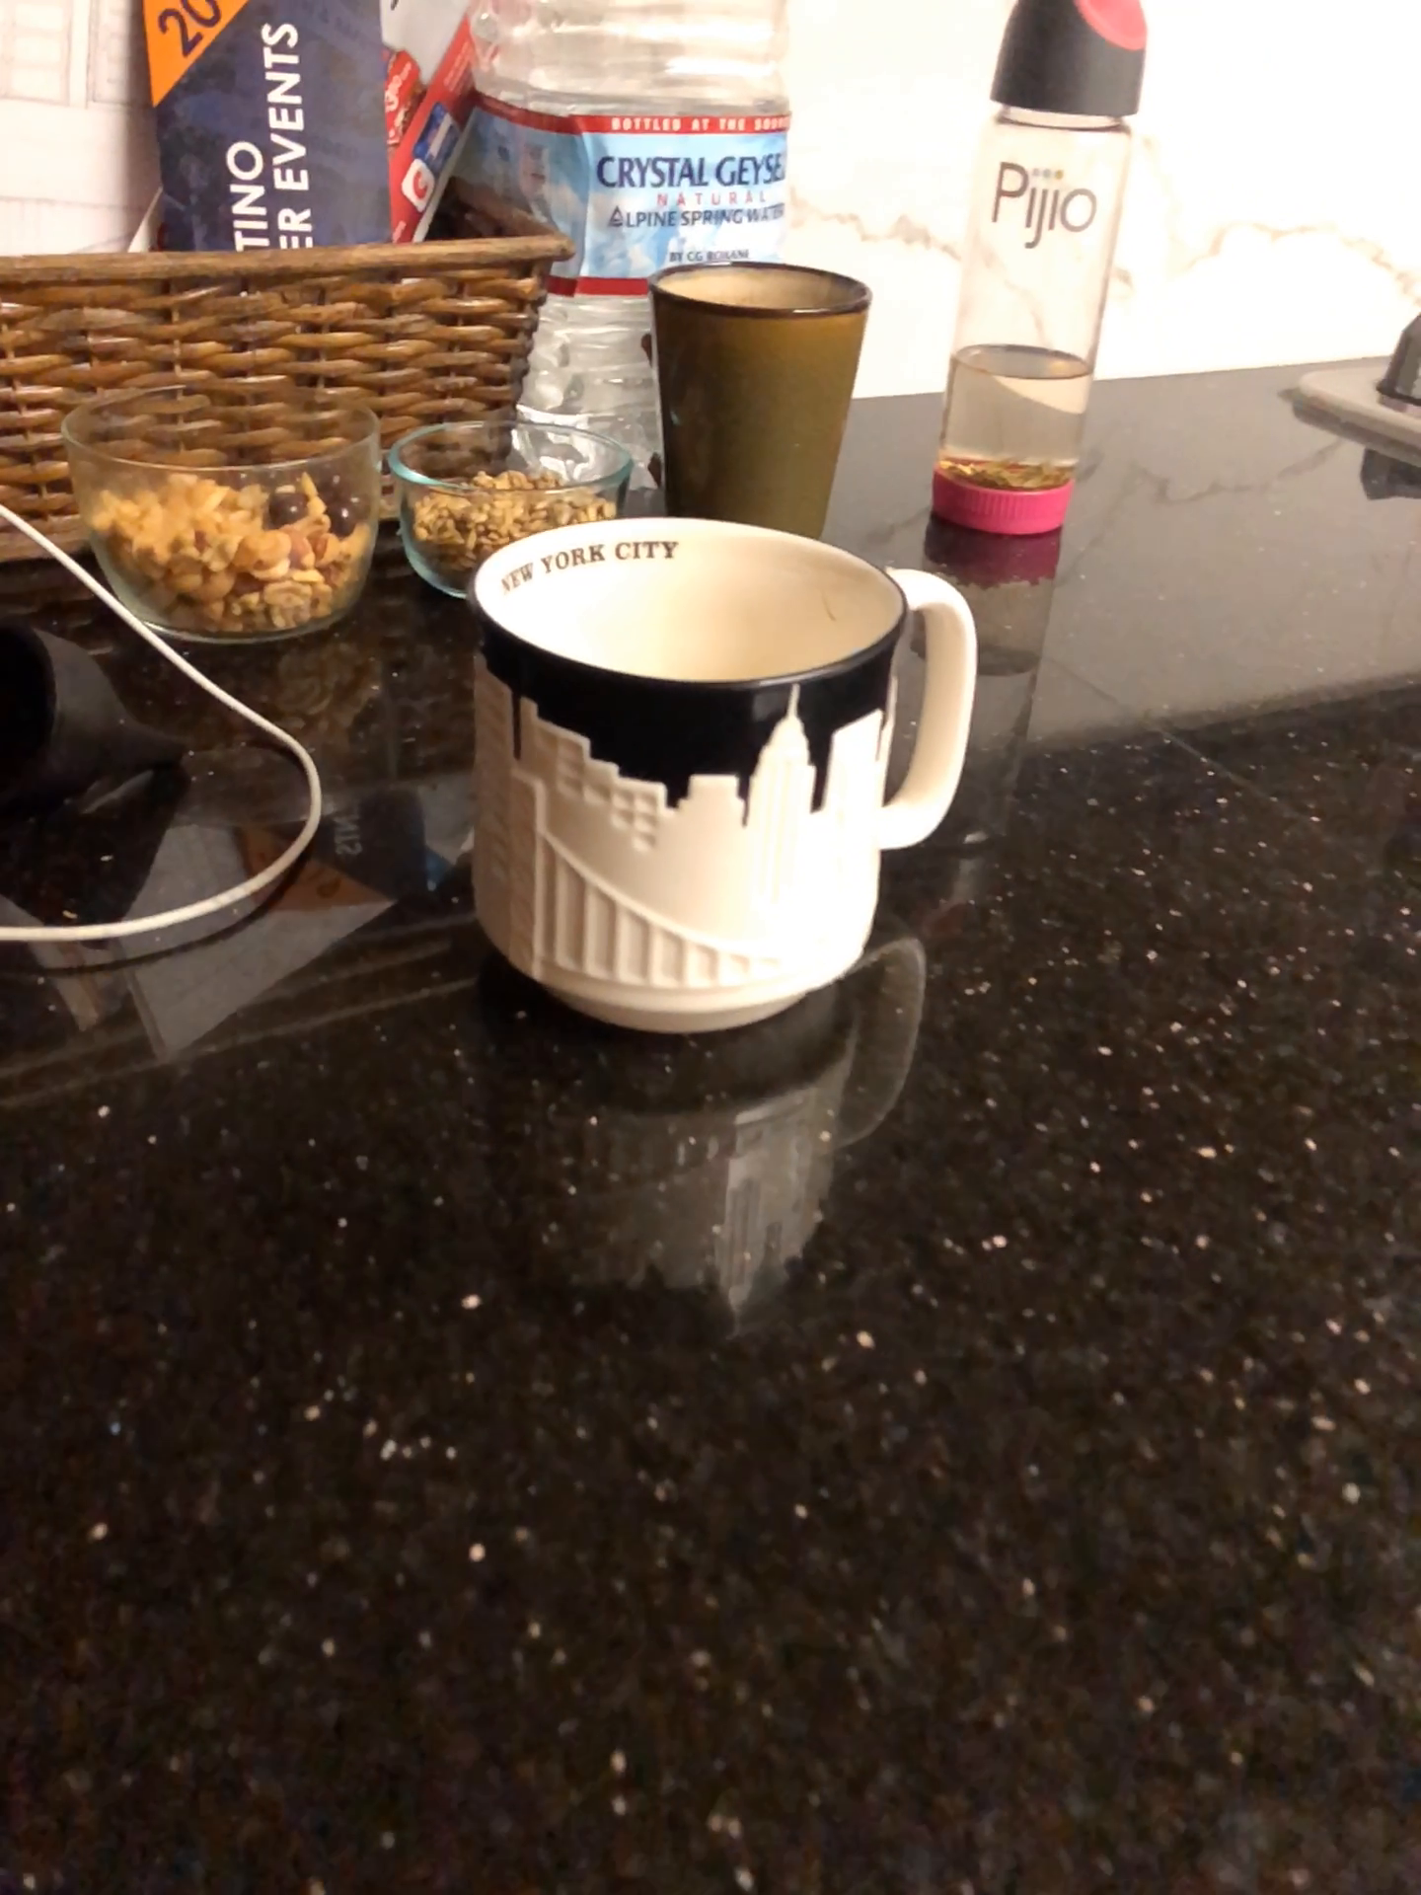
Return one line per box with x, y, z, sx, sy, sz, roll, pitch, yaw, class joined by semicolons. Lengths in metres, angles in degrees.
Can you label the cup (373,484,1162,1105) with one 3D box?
0.008;-0.049;0.398;0.150;0.089;0.121;-14;37;-25;cup
